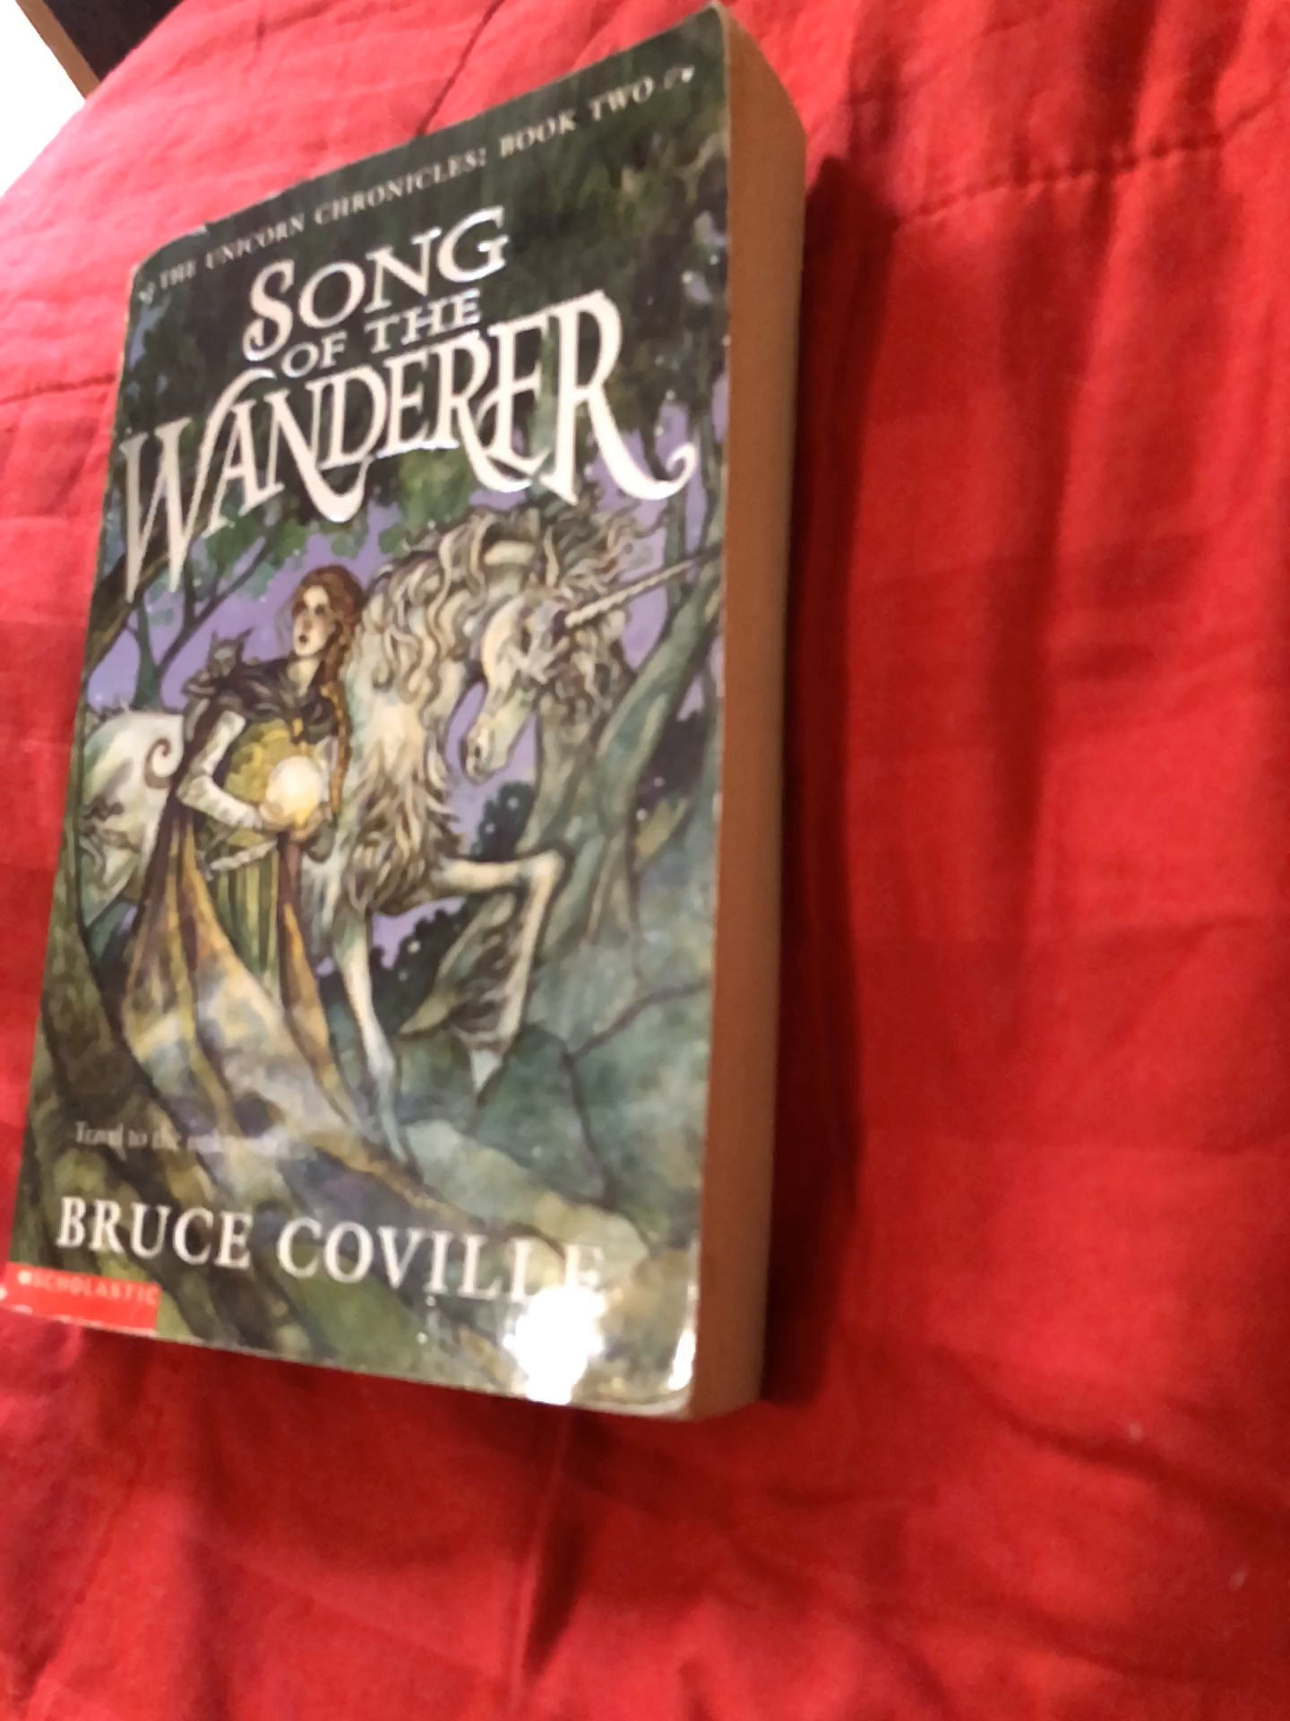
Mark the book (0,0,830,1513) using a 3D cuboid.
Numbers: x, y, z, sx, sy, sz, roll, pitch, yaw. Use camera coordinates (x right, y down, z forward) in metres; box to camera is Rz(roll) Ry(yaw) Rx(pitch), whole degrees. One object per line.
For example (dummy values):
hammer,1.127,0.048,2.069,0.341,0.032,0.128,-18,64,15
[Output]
book,-0.039,-0.016,0.220,0.130,0.030,0.190,-4,78,33
